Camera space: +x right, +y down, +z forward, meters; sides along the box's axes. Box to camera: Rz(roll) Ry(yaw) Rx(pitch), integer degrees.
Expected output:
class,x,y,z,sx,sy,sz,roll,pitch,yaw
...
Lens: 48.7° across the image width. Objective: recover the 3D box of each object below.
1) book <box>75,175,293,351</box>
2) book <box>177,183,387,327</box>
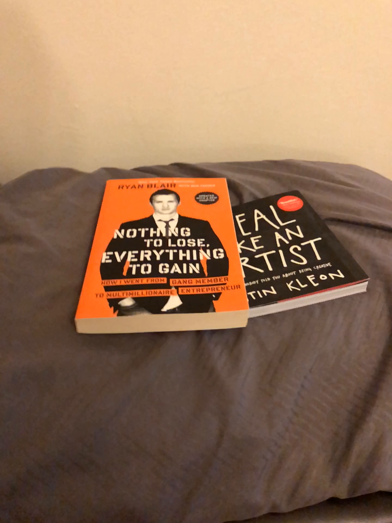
class,x,y,z,sx,sy,sz,roll,pitch,yaw
book,-0.016,-0.015,0.429,0.170,0.020,0.231,-1,43,-4
book,0.075,-0.019,0.441,0.150,0.020,0.171,-10,42,-14
